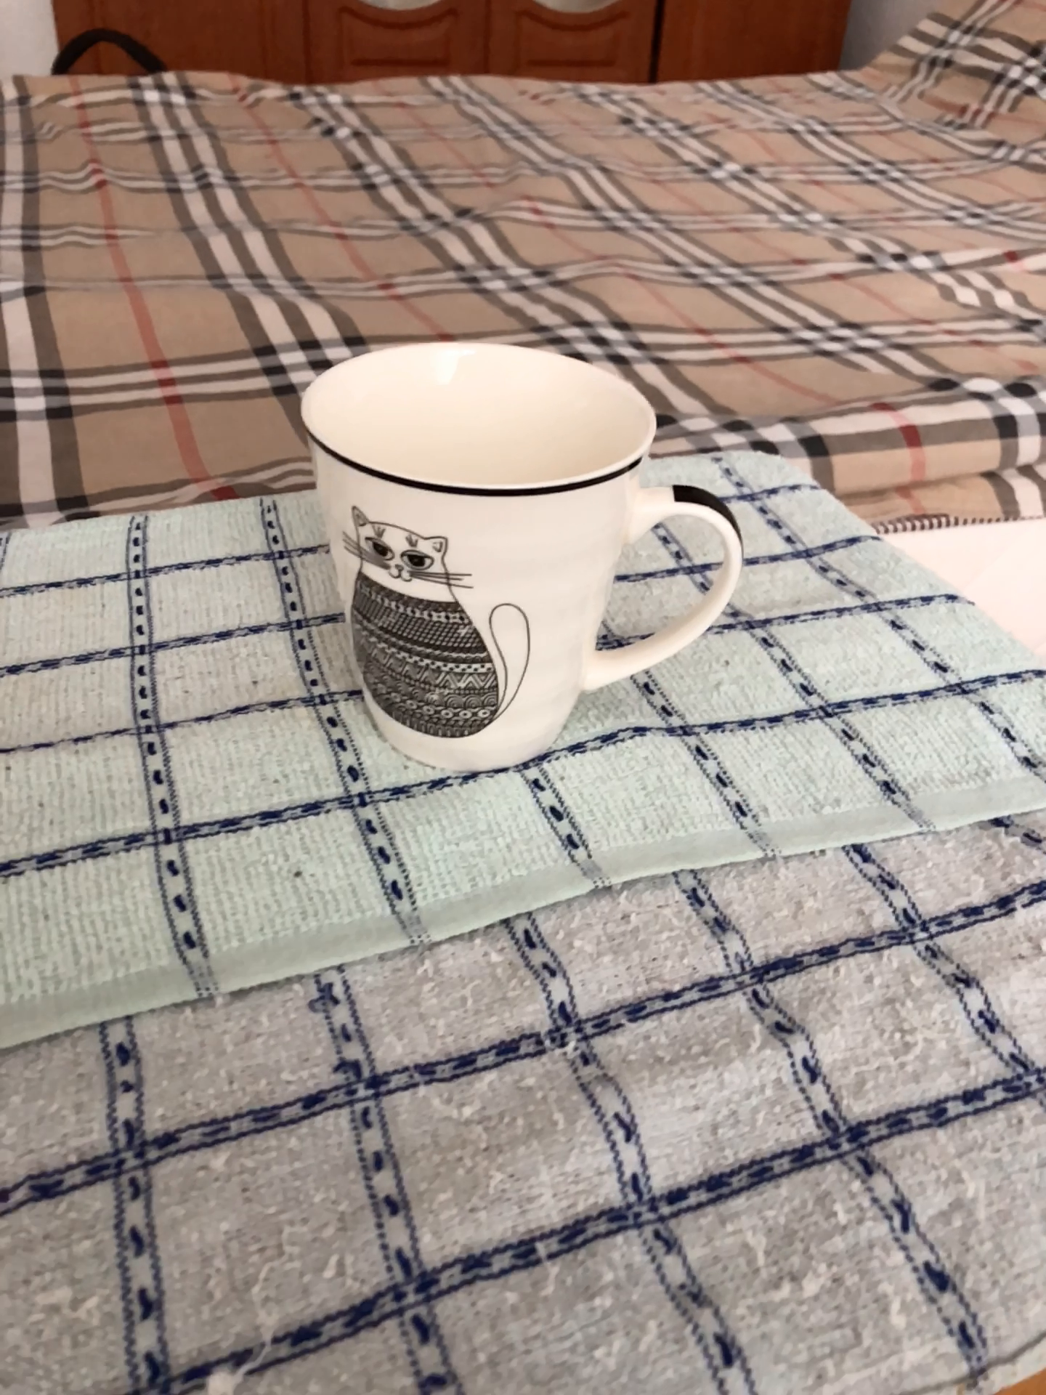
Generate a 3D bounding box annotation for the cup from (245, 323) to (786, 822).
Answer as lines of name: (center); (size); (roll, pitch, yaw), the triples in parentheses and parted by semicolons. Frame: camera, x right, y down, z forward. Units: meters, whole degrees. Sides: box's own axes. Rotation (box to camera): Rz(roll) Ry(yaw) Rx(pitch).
cup: (0.002, -0.038, 0.321); (0.123, 0.090, 0.091); (8, 37, 6)
